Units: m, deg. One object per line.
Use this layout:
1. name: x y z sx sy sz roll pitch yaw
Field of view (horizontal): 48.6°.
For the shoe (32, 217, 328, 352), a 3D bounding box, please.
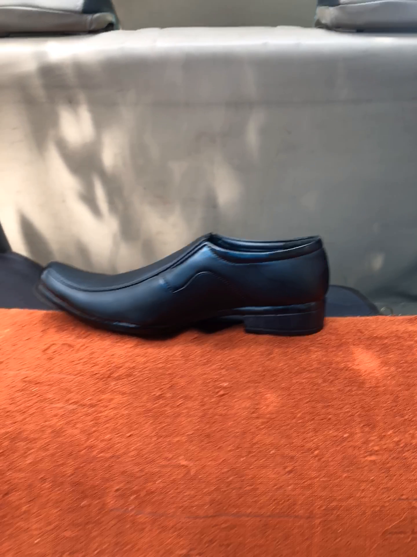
1. shoe: -0.018 -0.008 0.519 0.290 0.100 0.161 3 13 14
